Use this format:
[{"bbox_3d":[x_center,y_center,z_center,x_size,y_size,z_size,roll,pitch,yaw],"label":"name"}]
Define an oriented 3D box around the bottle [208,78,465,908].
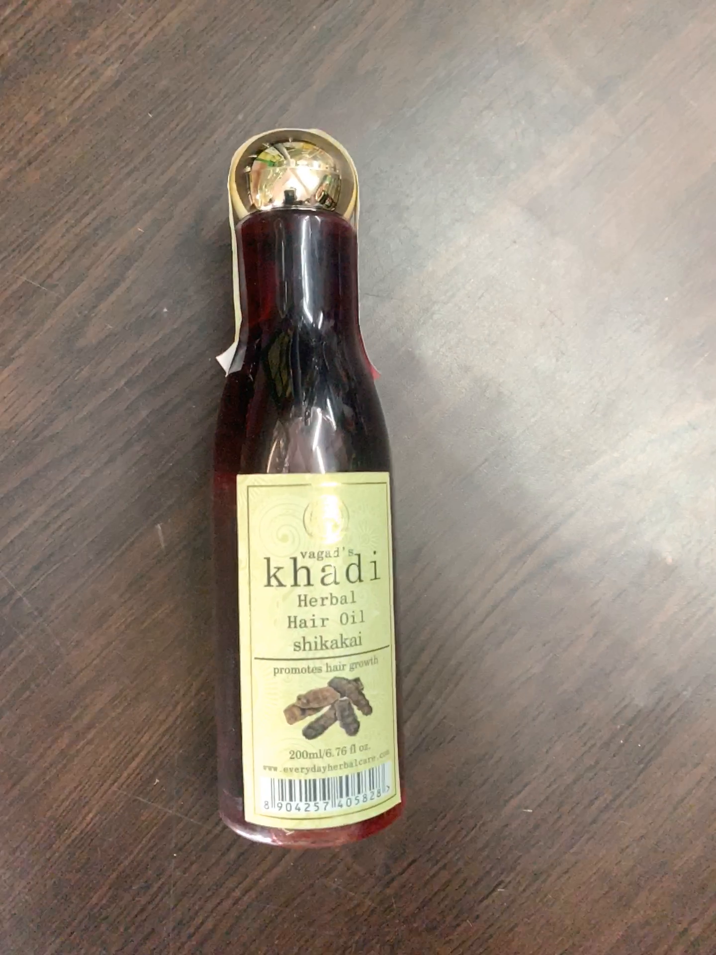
[{"bbox_3d":[-0.008,0.002,0.181,0.050,0.050,0.170,-1,89,-10],"label":"bottle"}]
